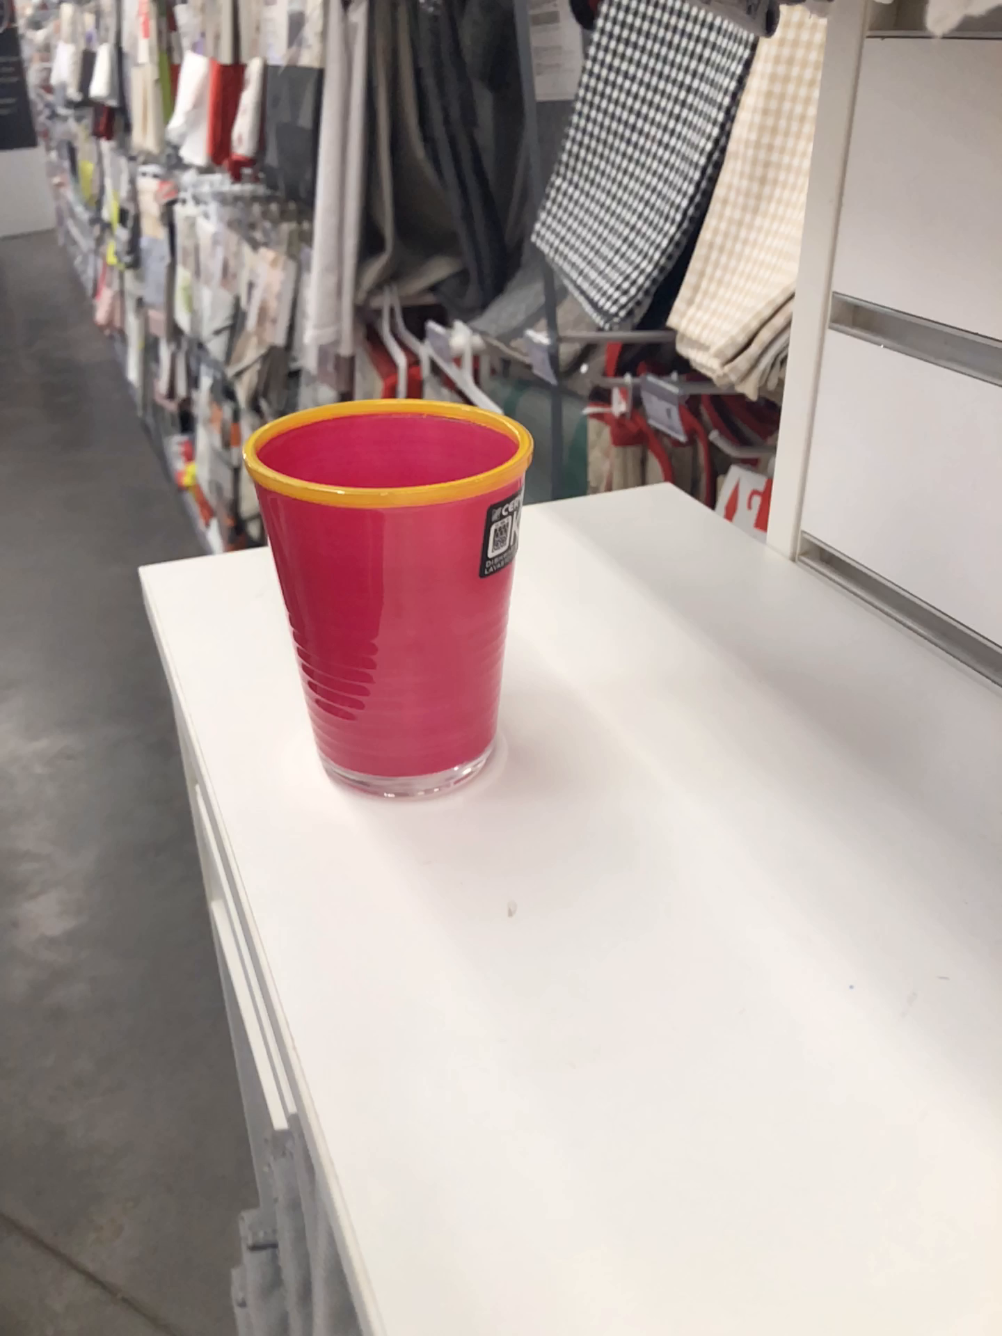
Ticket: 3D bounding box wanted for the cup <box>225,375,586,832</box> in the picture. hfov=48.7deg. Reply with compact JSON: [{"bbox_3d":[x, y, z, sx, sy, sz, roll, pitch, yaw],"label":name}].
[{"bbox_3d":[-0.029,-0.023,0.318,0.079,0.093,0.085,-1,29,0],"label":"cup"}]
